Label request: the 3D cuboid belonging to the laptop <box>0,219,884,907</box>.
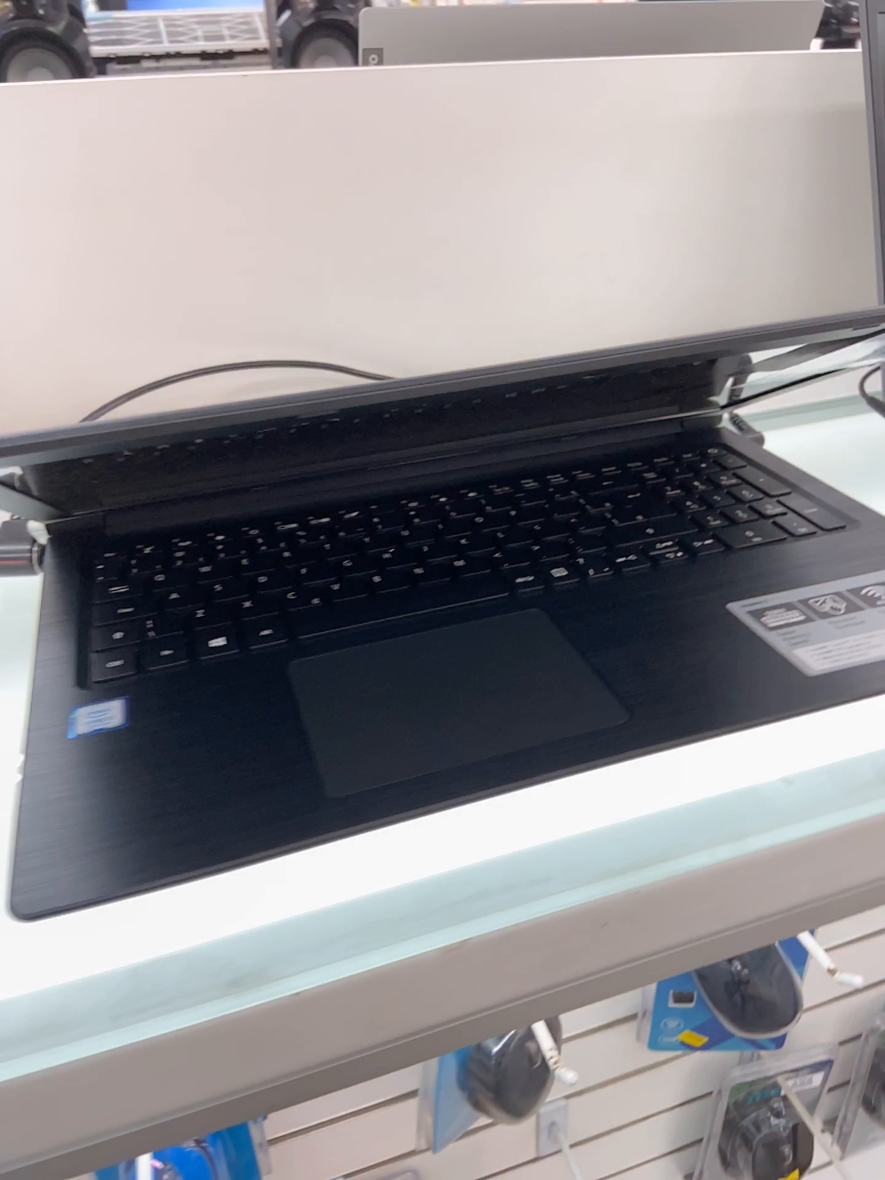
[{"bbox_3d":[0.024,-0.056,0.370,0.381,0.118,0.237,-12,31,-15],"label":"laptop"}]
